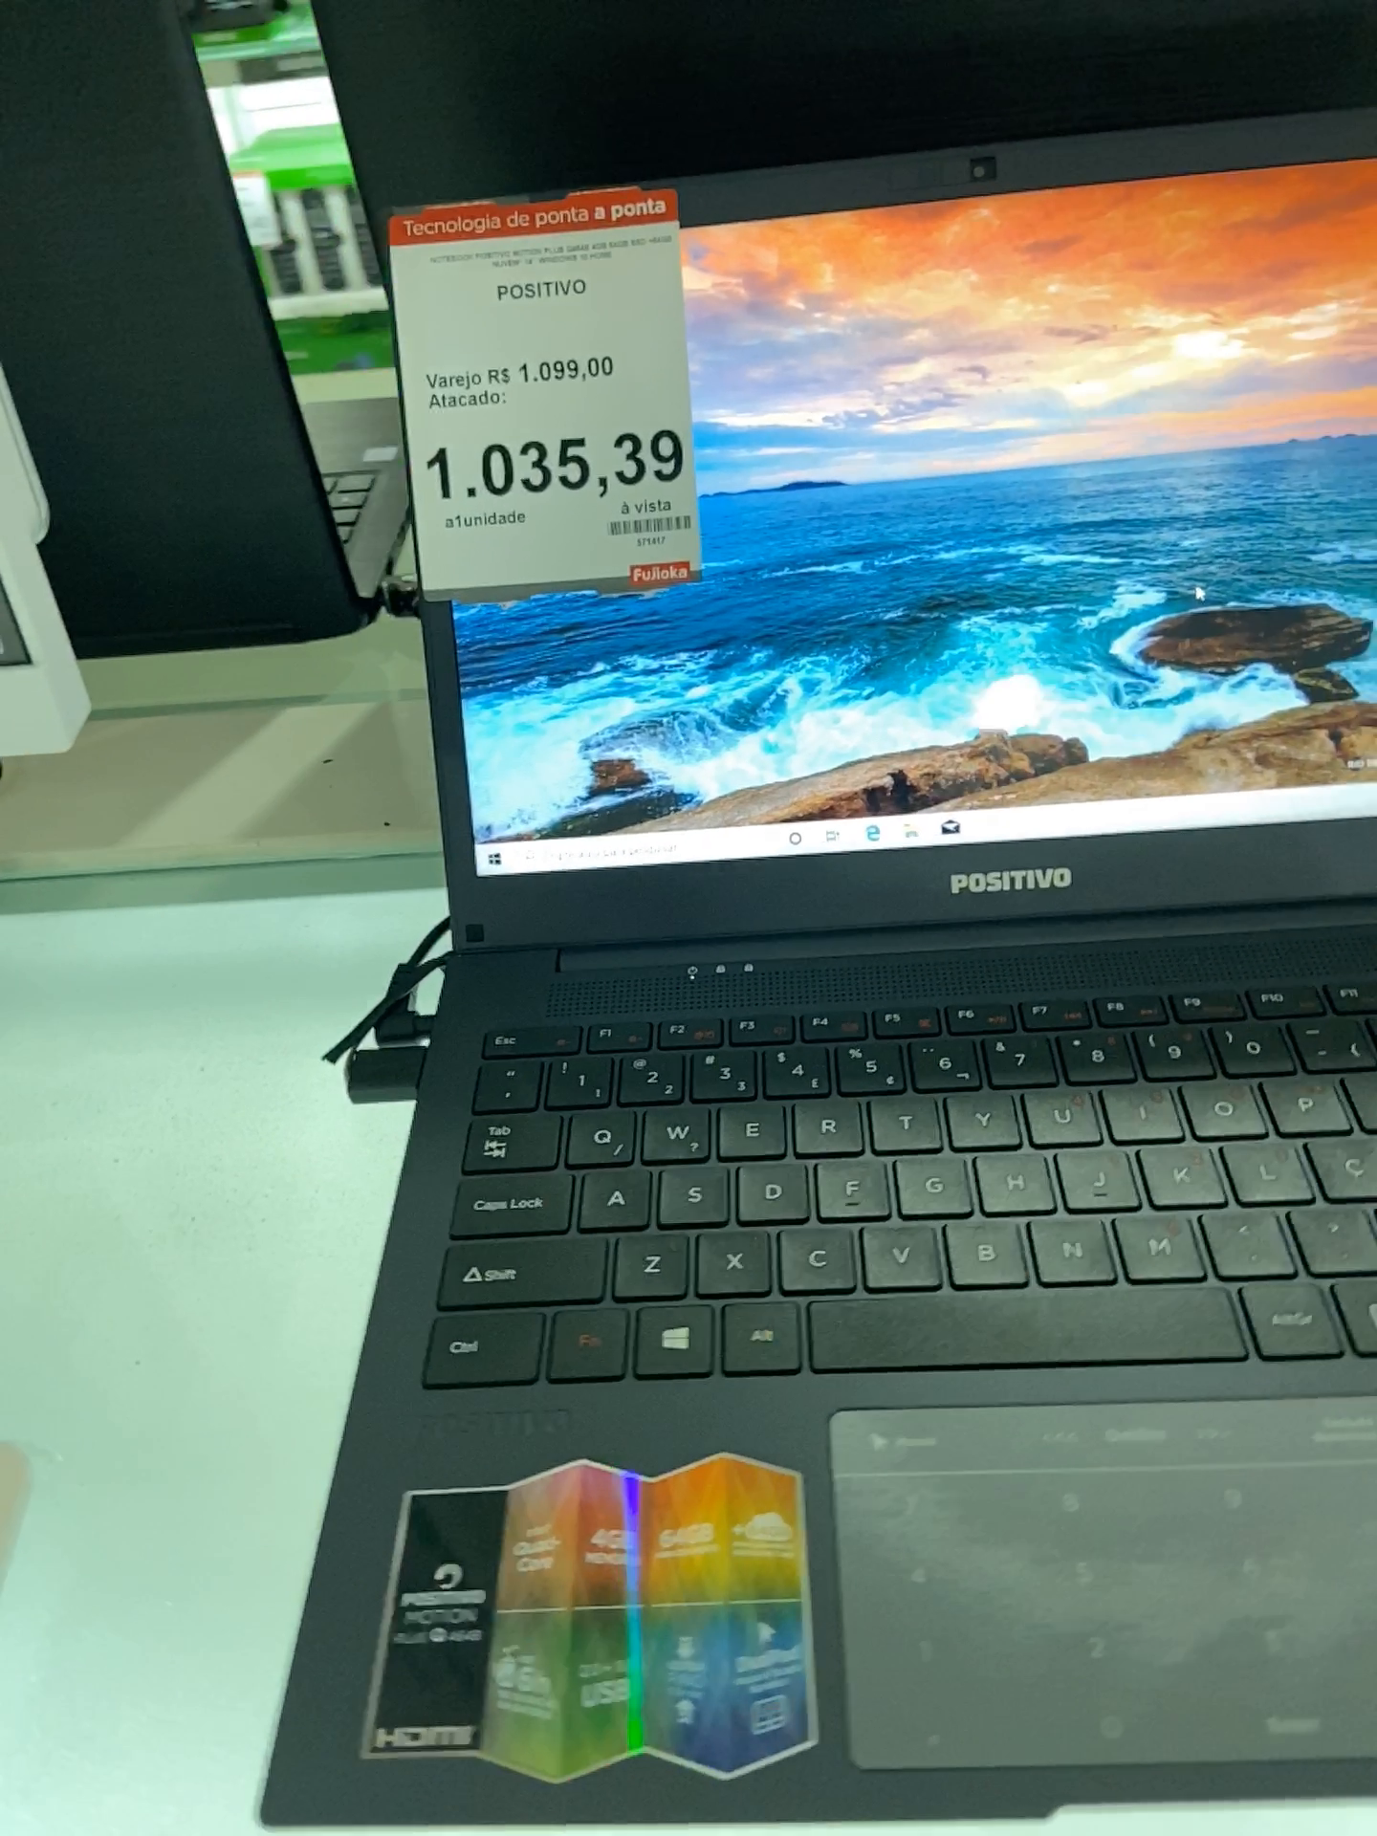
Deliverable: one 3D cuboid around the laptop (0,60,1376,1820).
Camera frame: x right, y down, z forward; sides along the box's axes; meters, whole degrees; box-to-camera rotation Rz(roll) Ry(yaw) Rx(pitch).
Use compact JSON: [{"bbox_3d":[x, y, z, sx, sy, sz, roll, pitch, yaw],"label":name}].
[{"bbox_3d":[0.086,-0.036,0.317,0.334,0.175,0.356,-4,41,5],"label":"laptop"}]
